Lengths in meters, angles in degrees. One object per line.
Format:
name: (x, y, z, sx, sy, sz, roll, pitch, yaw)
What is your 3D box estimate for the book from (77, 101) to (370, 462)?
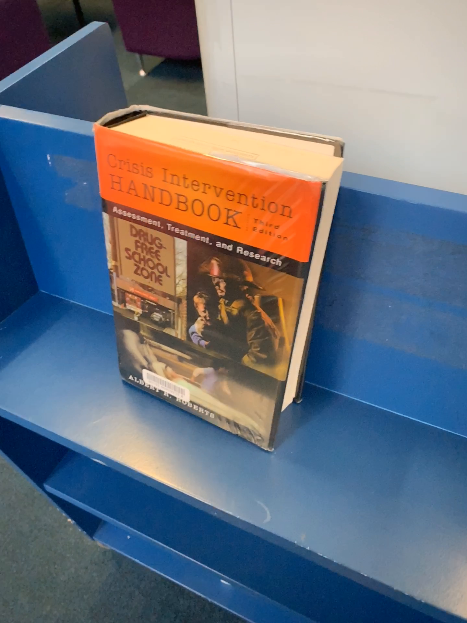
book: (-0.015, -0.021, 0.390, 0.180, 0.238, 0.080, 20, 39, 21)
